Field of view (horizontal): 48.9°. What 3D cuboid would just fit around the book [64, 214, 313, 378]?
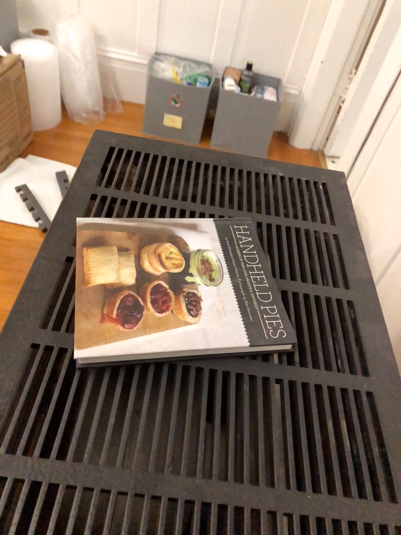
[{"bbox_3d":[-0.022,0.015,0.472,0.230,0.020,0.201,-1,46,-14],"label":"book"}]
